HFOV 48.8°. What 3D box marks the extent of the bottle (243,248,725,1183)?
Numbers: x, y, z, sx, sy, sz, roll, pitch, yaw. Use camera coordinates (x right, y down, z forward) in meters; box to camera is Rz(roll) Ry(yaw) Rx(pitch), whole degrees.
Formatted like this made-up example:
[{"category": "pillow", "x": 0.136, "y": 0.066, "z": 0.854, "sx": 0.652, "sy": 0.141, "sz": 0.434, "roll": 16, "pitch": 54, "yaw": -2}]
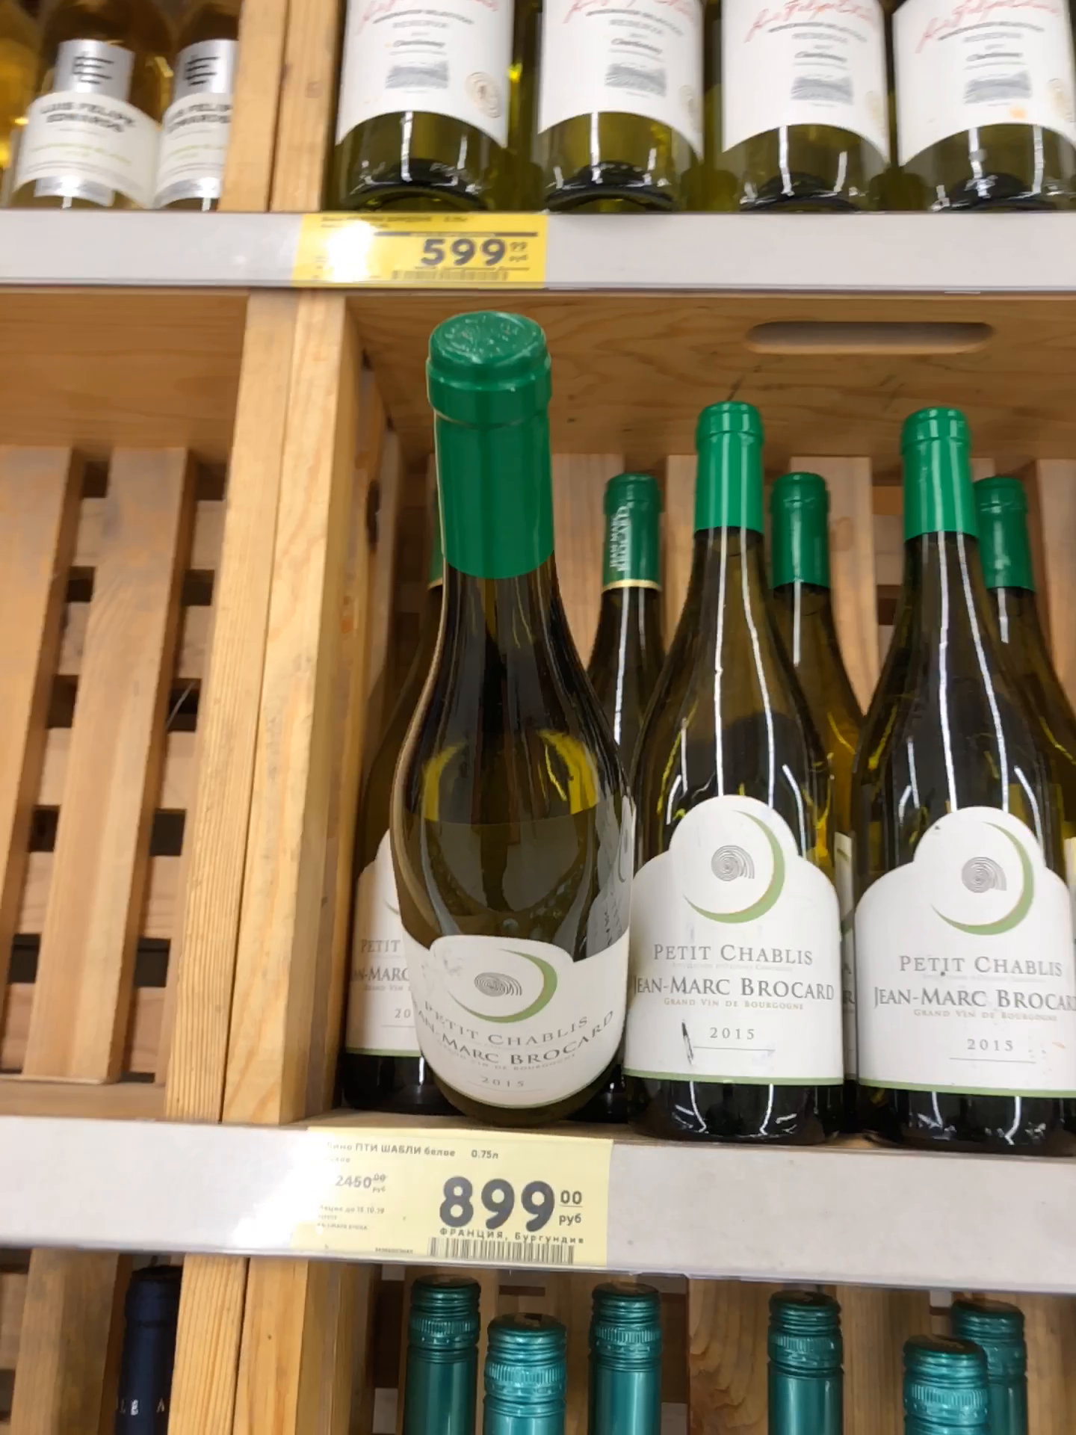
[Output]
[{"category": "bottle", "x": -0.005, "y": 0.024, "z": 0.354, "sx": 0.090, "sy": 0.288, "sz": 0.090, "roll": 0, "pitch": 44, "yaw": 0}]
